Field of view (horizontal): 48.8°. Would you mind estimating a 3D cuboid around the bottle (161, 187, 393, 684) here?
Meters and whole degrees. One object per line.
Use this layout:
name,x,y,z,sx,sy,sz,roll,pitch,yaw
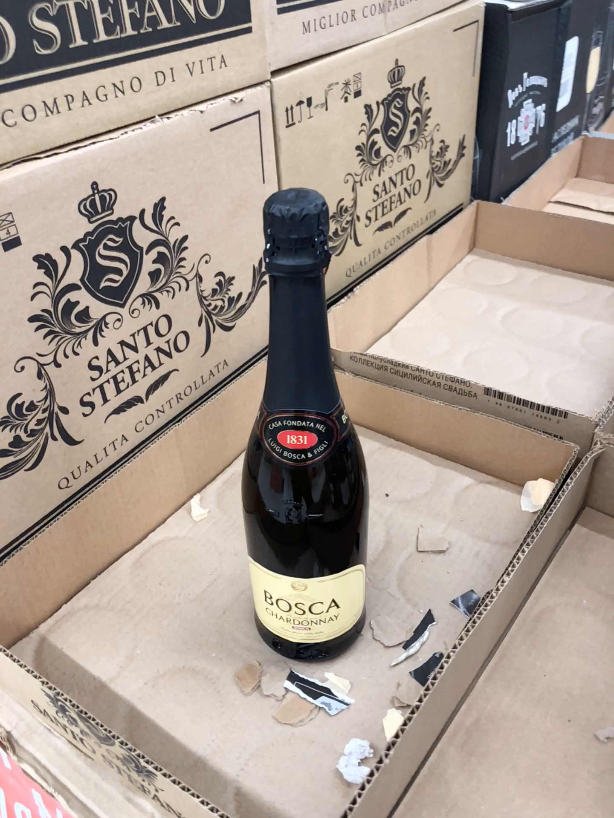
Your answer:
bottle,-0.001,0.035,0.402,0.090,0.308,0.080,4,38,11
